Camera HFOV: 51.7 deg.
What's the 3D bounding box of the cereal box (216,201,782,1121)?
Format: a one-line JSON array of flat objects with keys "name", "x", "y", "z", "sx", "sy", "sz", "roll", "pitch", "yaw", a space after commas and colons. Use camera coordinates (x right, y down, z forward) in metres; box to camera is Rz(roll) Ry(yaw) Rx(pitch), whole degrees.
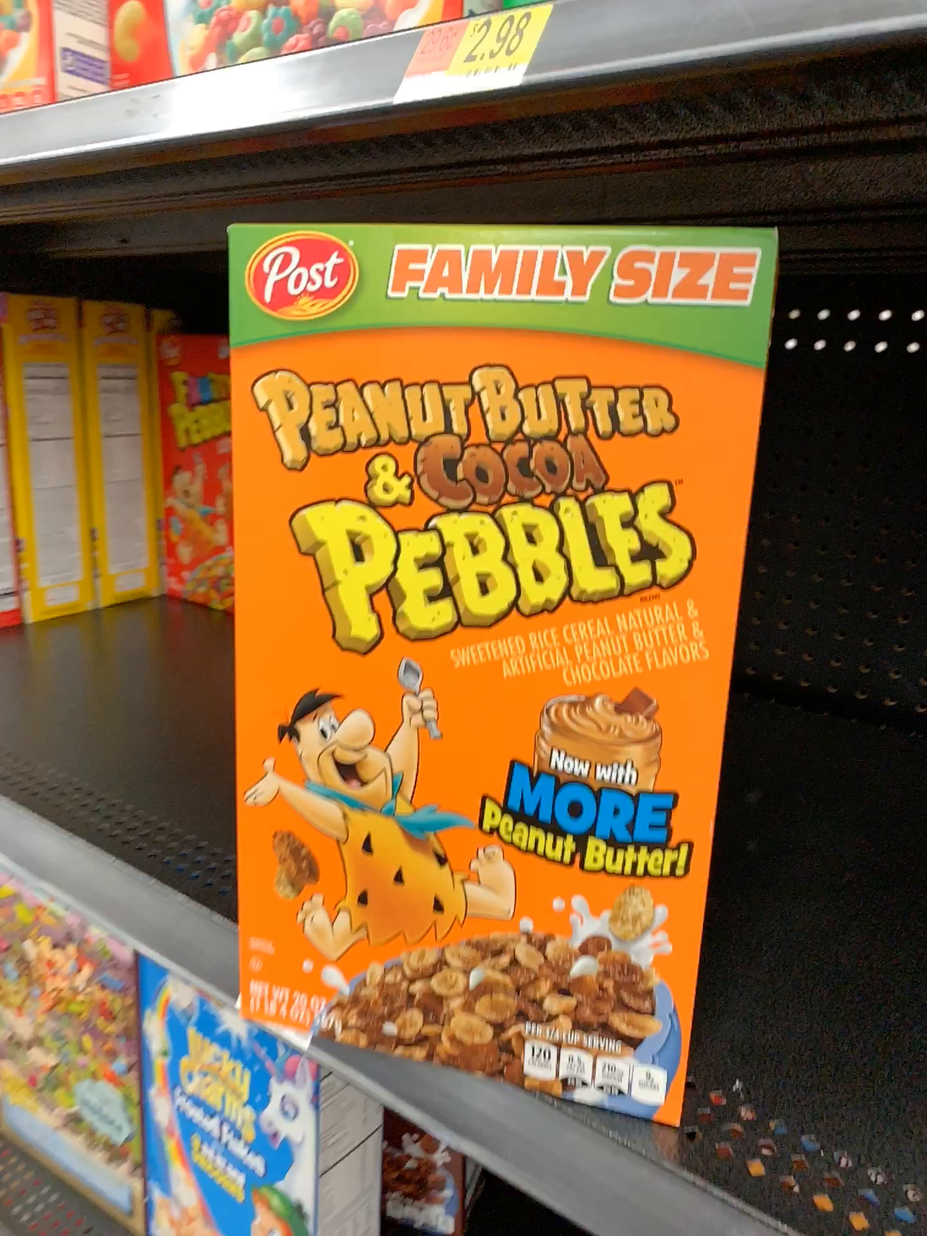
[{"name": "cereal box", "x": 0.006, "y": 0.017, "z": 0.394, "sx": 0.200, "sy": 0.339, "sz": 0.060, "roll": 6, "pitch": 14, "yaw": 15}]
